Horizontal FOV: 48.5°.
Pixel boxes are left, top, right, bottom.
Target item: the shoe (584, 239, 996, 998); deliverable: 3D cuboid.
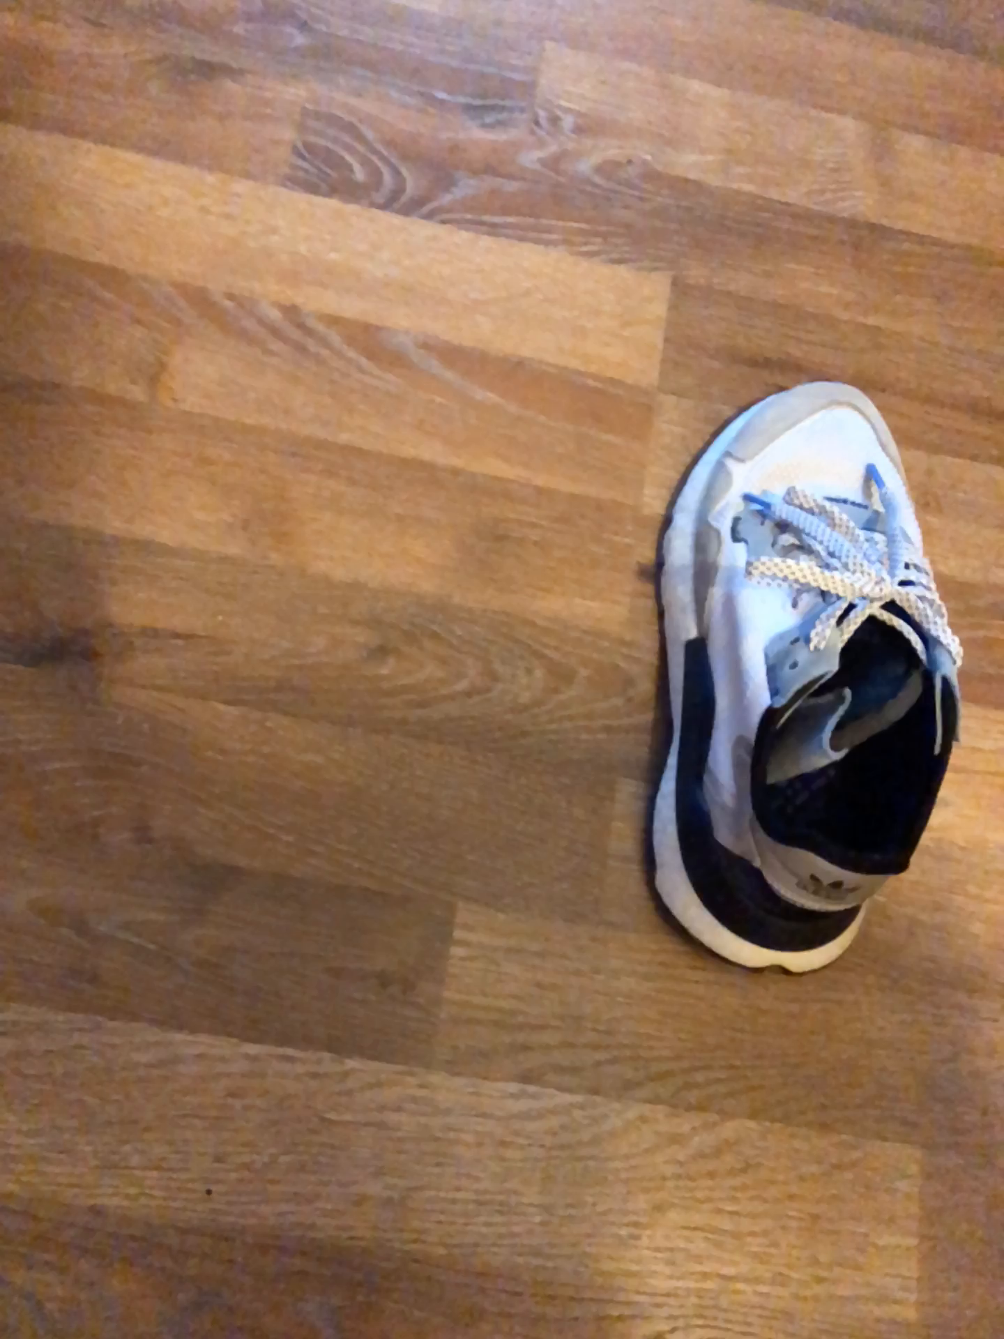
[{"bbox_3d":[0.116,-0.016,0.452,0.113,0.110,0.271,11,71,-6],"label":"shoe"}]
